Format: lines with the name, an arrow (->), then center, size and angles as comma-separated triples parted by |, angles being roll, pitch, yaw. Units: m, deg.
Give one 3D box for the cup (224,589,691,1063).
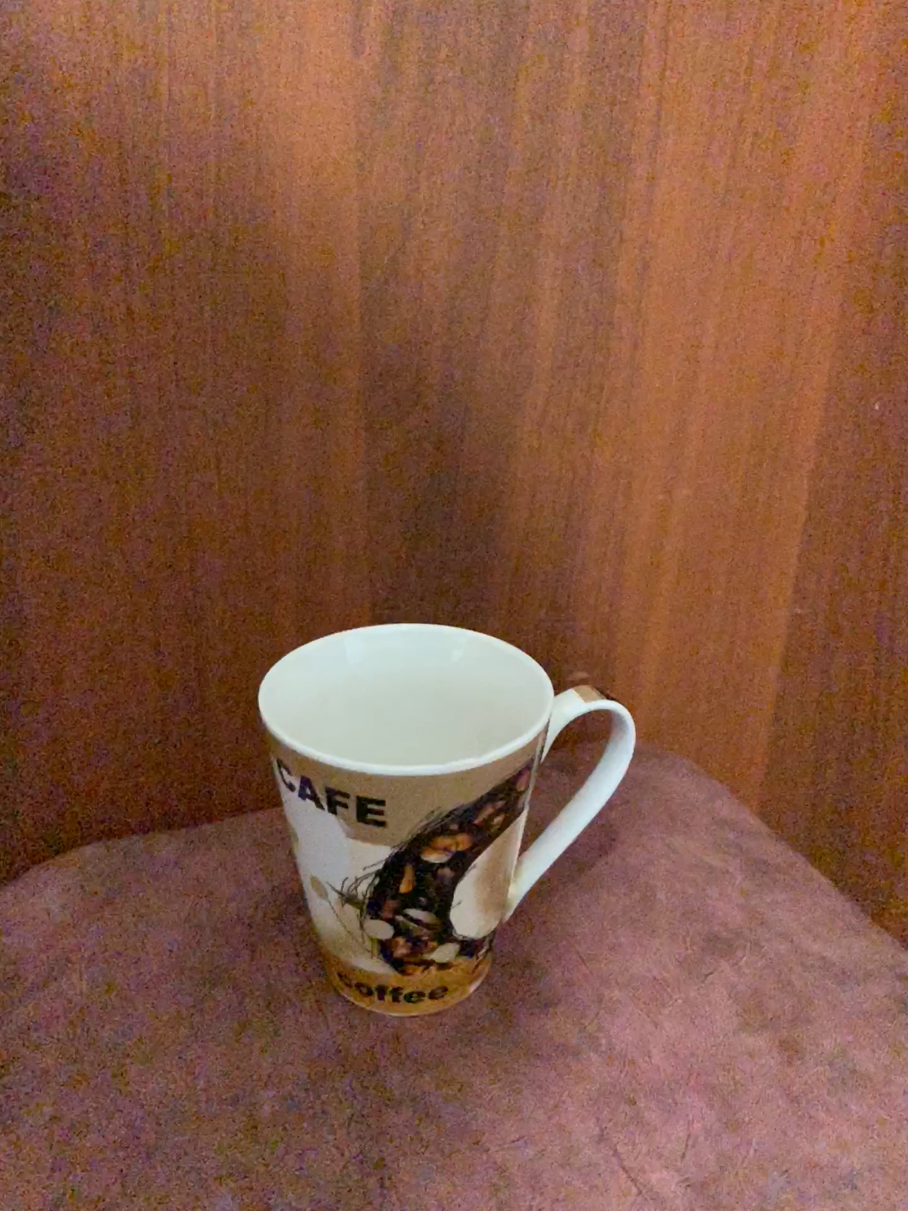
cup -> -0.005, 0.062, 0.311 | 0.119, 0.092, 0.095 | -8, 25, -20
